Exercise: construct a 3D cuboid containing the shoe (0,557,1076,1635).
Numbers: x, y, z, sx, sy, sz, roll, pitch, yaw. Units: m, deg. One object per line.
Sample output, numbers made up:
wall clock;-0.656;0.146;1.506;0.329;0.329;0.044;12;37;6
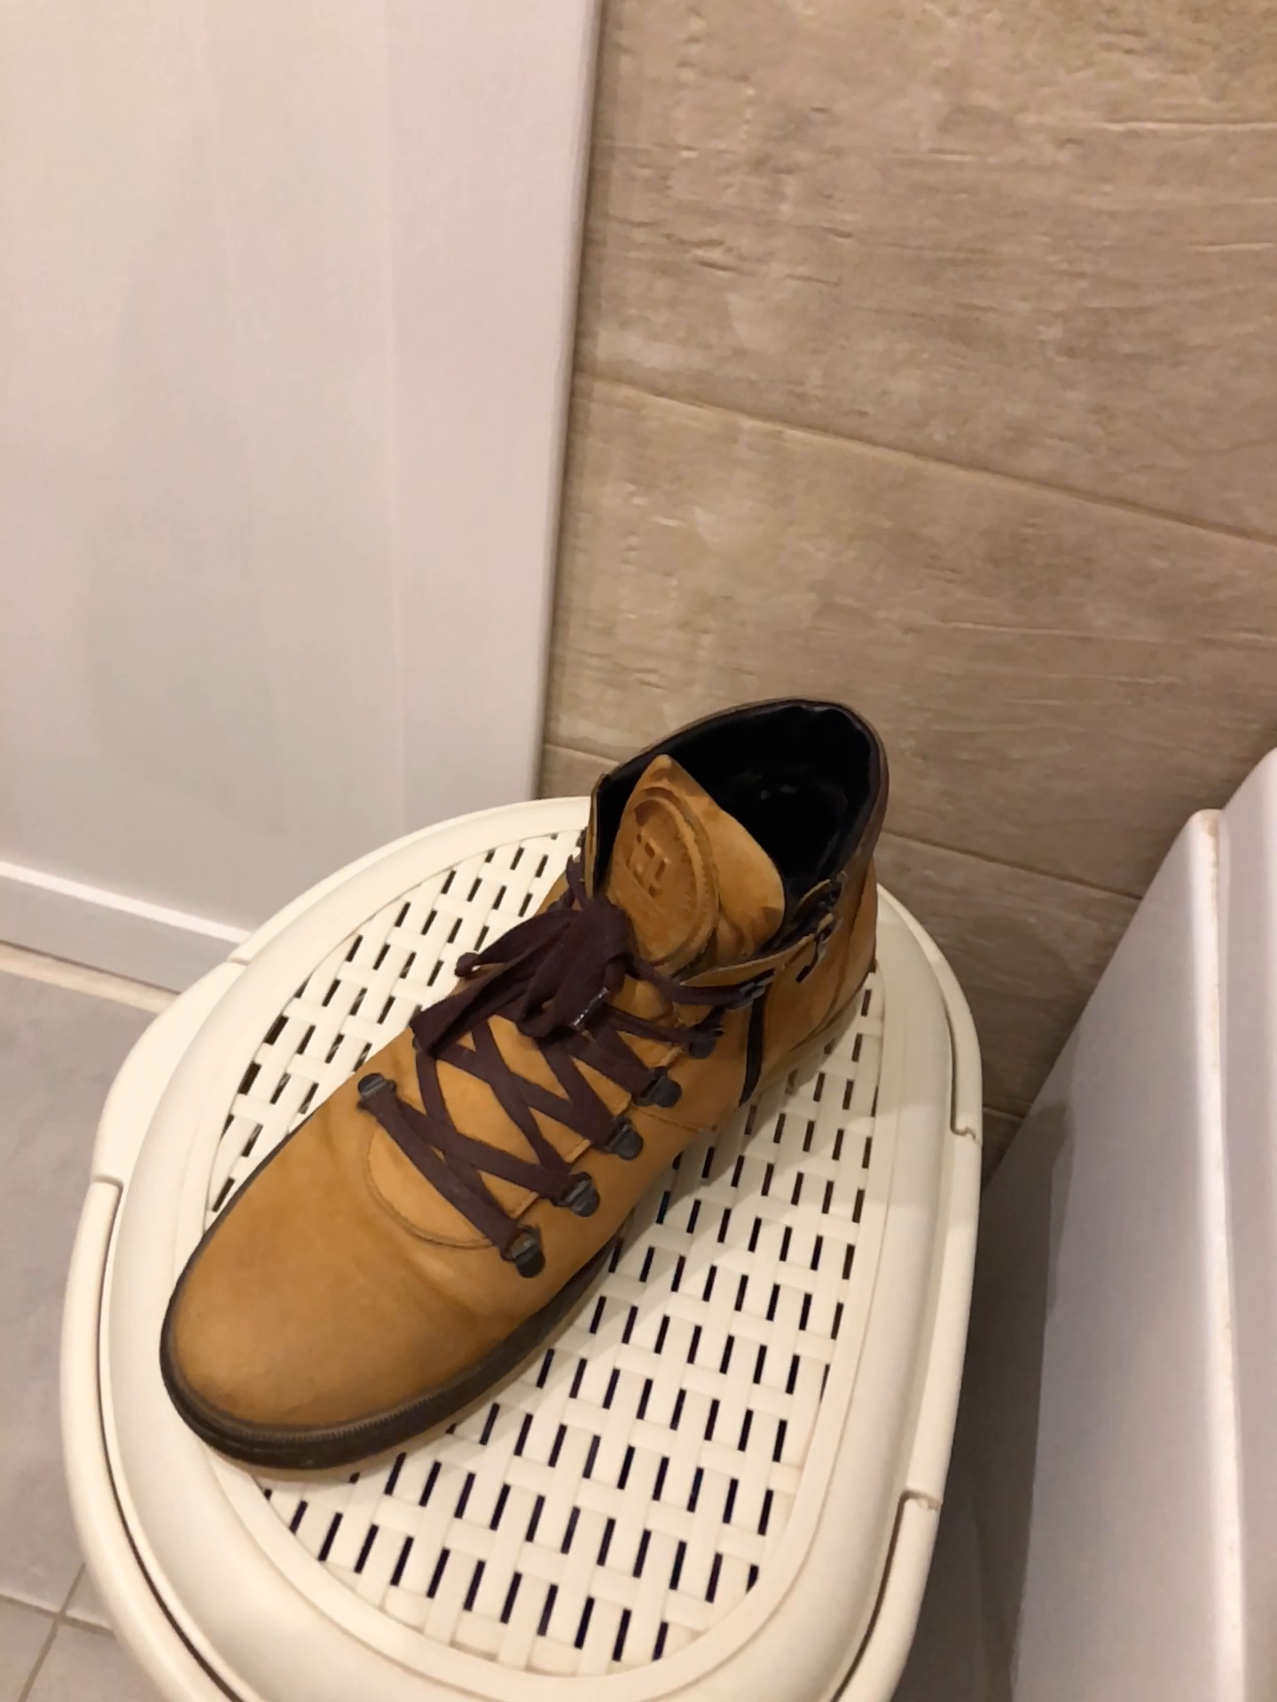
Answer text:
shoe;-0.017;0.061;0.429;0.110;0.169;0.291;38;55;24
